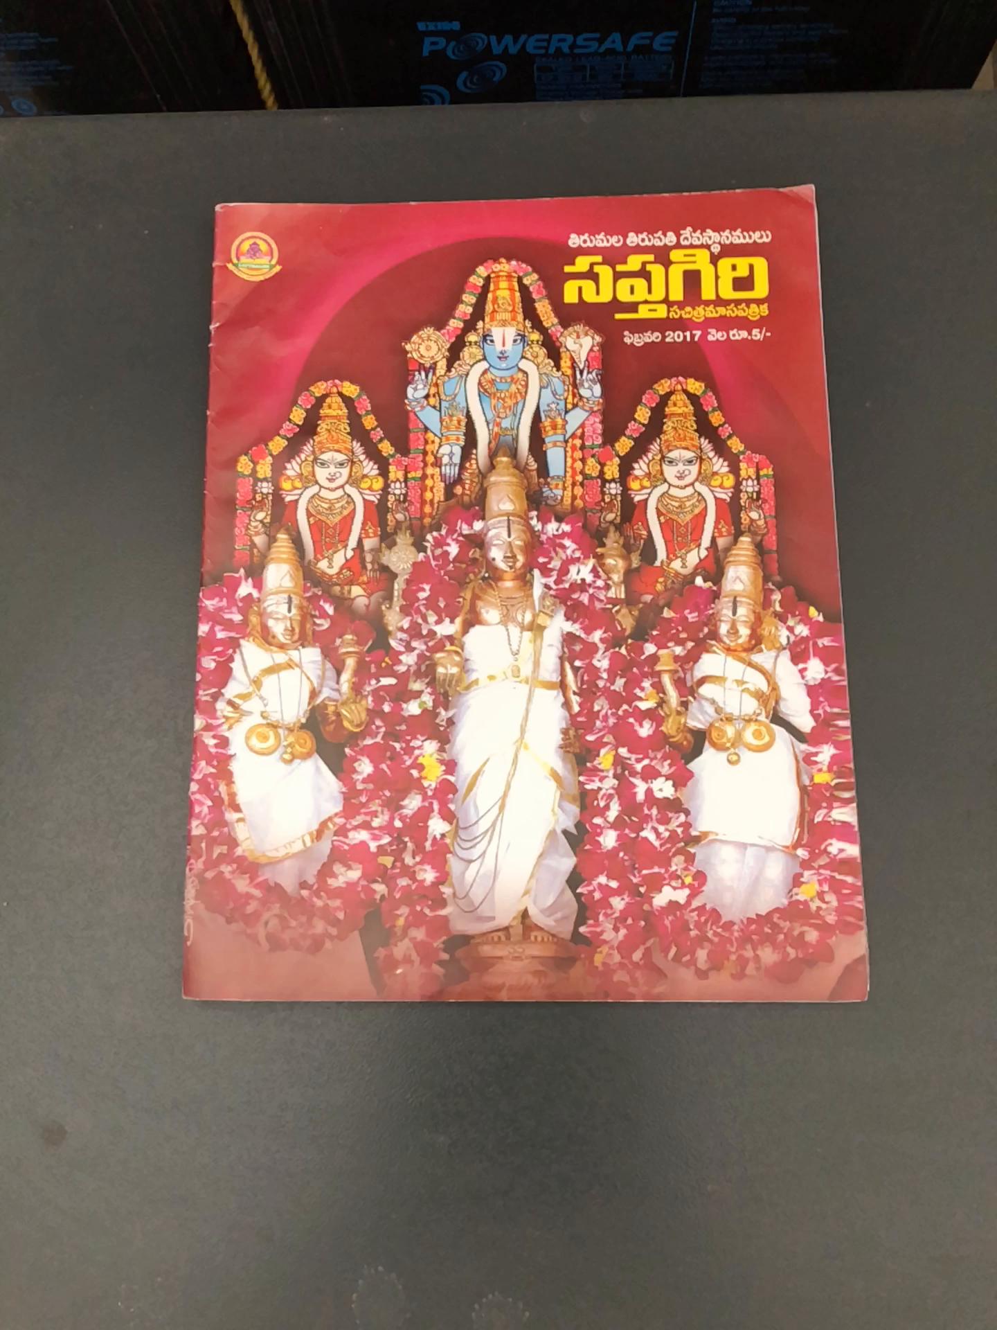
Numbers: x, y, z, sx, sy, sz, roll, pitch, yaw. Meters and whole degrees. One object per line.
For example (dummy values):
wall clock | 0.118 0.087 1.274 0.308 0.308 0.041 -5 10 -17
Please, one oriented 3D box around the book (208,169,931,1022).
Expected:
book | 0.017 -0.026 0.347 0.200 0.030 0.260 -1 78 3
